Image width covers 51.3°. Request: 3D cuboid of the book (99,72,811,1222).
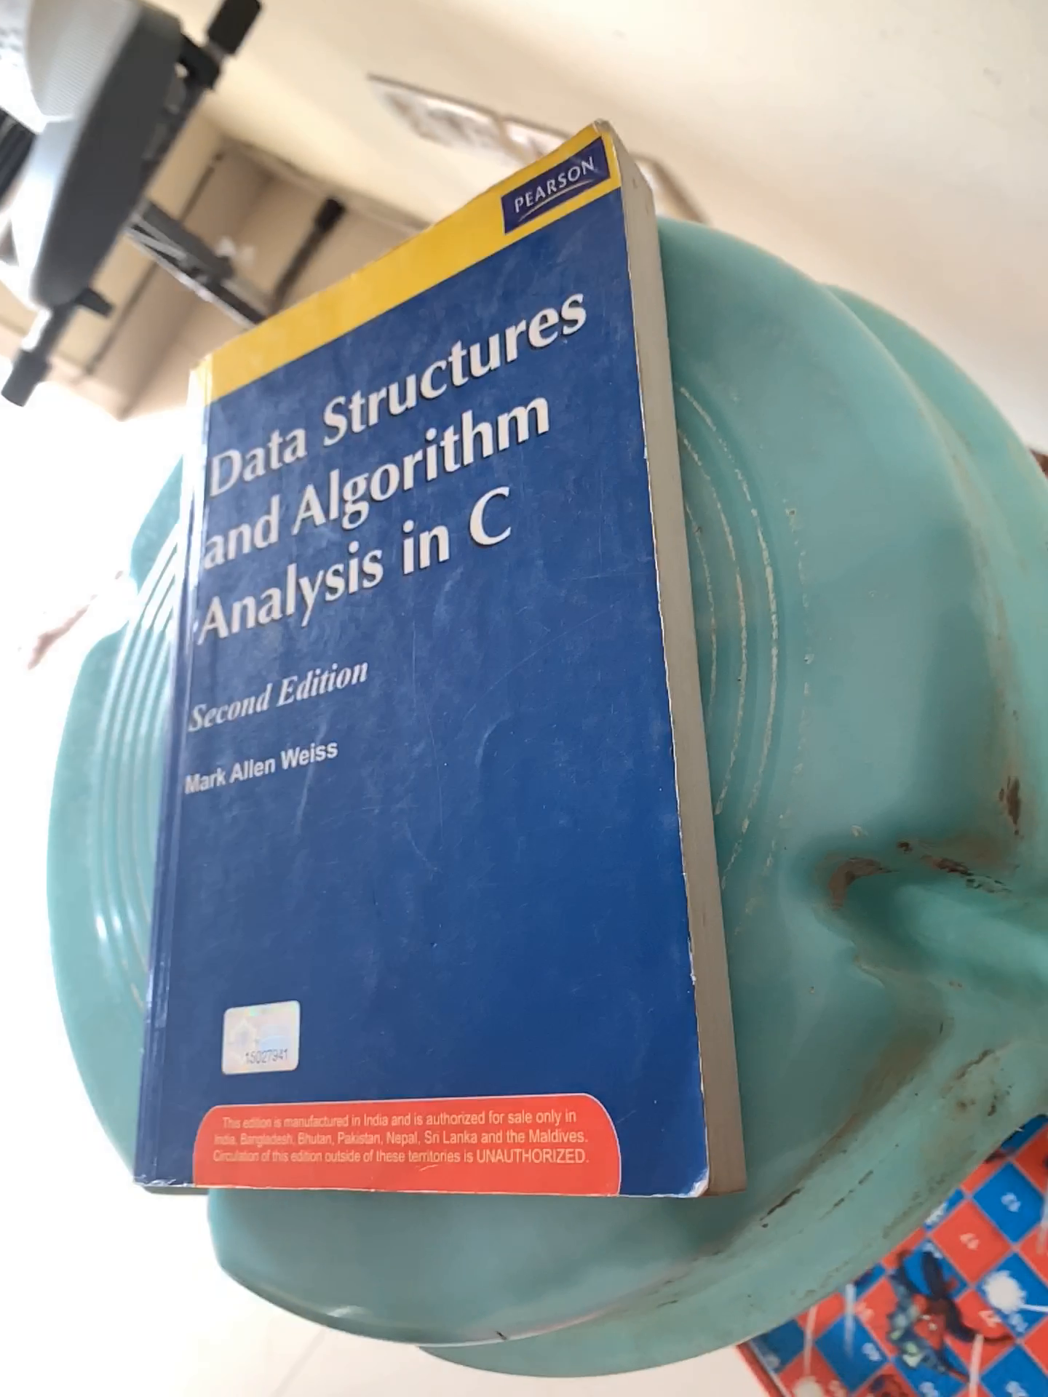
[{"bbox_3d":[-0.029,-0.010,0.264,0.161,0.030,0.241,-15,66,31],"label":"book"}]
